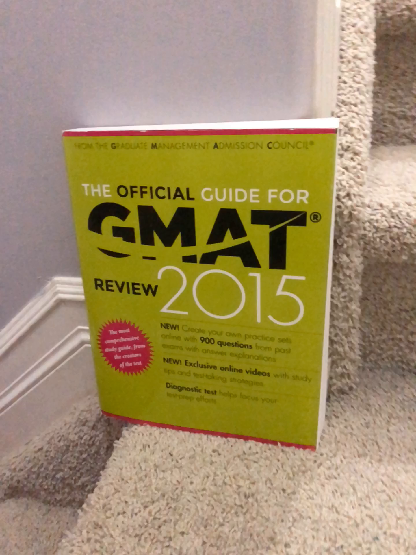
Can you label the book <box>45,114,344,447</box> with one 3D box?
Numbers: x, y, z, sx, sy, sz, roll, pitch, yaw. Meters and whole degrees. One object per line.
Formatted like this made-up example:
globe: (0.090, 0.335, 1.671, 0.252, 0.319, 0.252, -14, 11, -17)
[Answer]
book: (-0.008, 0.007, 0.411, 0.236, 0.277, 0.040, 3, 21, 16)
